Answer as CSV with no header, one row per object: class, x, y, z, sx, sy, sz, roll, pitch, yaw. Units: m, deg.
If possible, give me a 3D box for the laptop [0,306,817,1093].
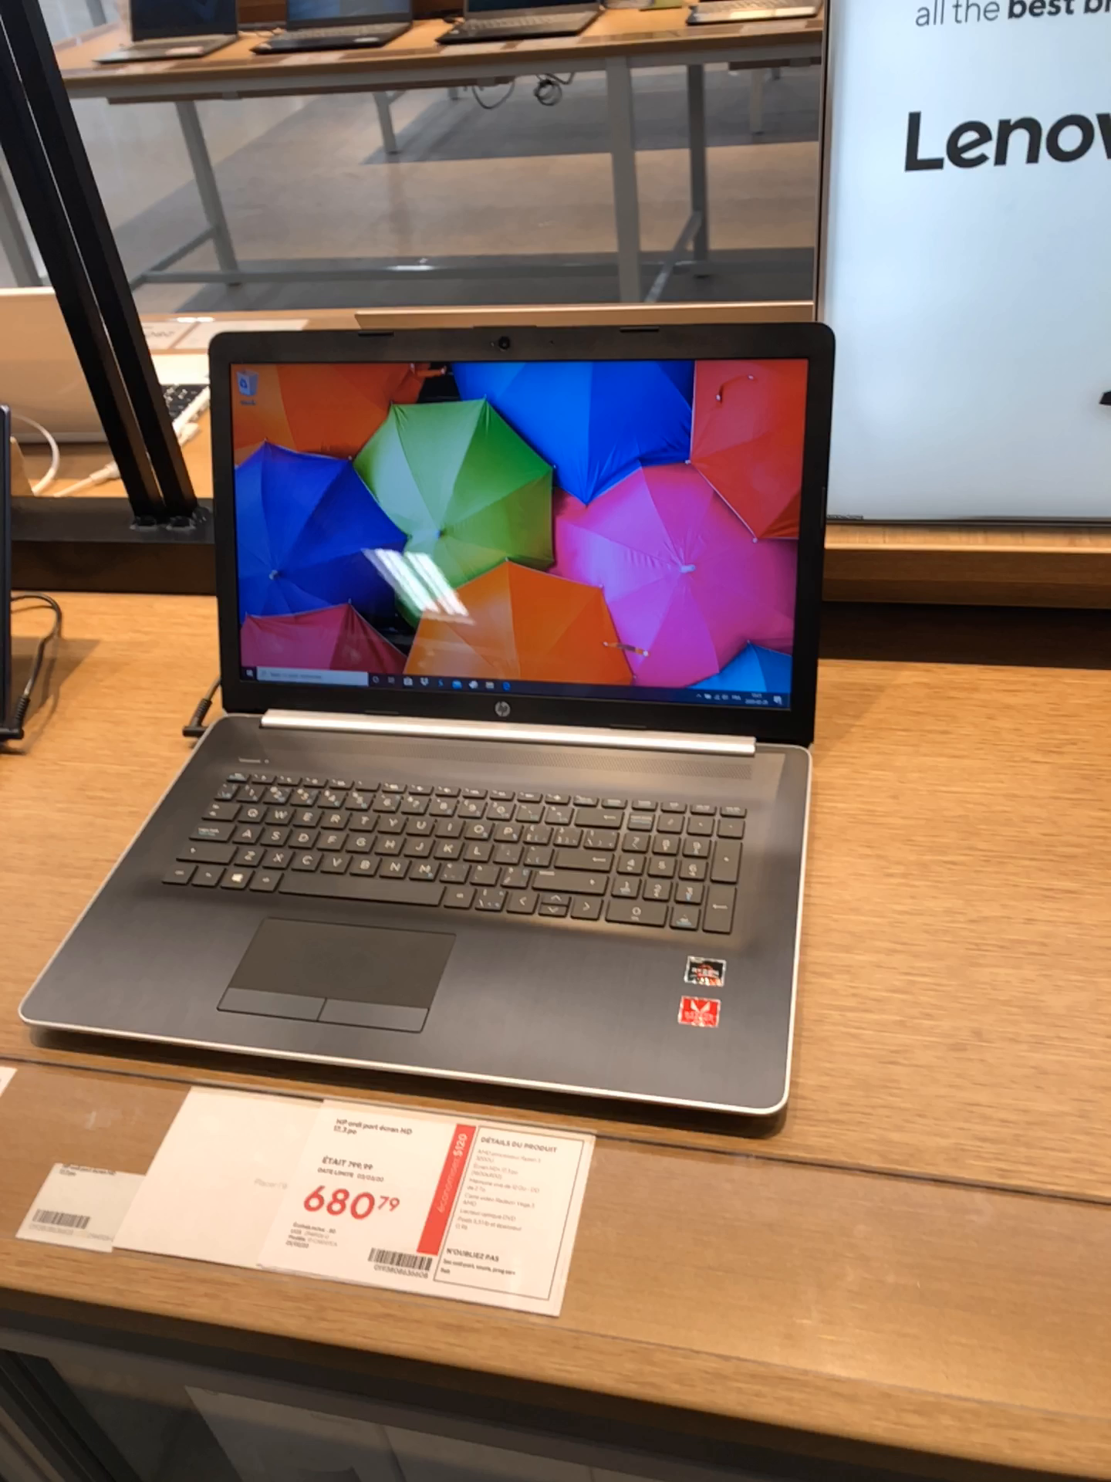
laptop,-0.065,-0.058,0.710,0.399,0.217,0.399,3,42,13
